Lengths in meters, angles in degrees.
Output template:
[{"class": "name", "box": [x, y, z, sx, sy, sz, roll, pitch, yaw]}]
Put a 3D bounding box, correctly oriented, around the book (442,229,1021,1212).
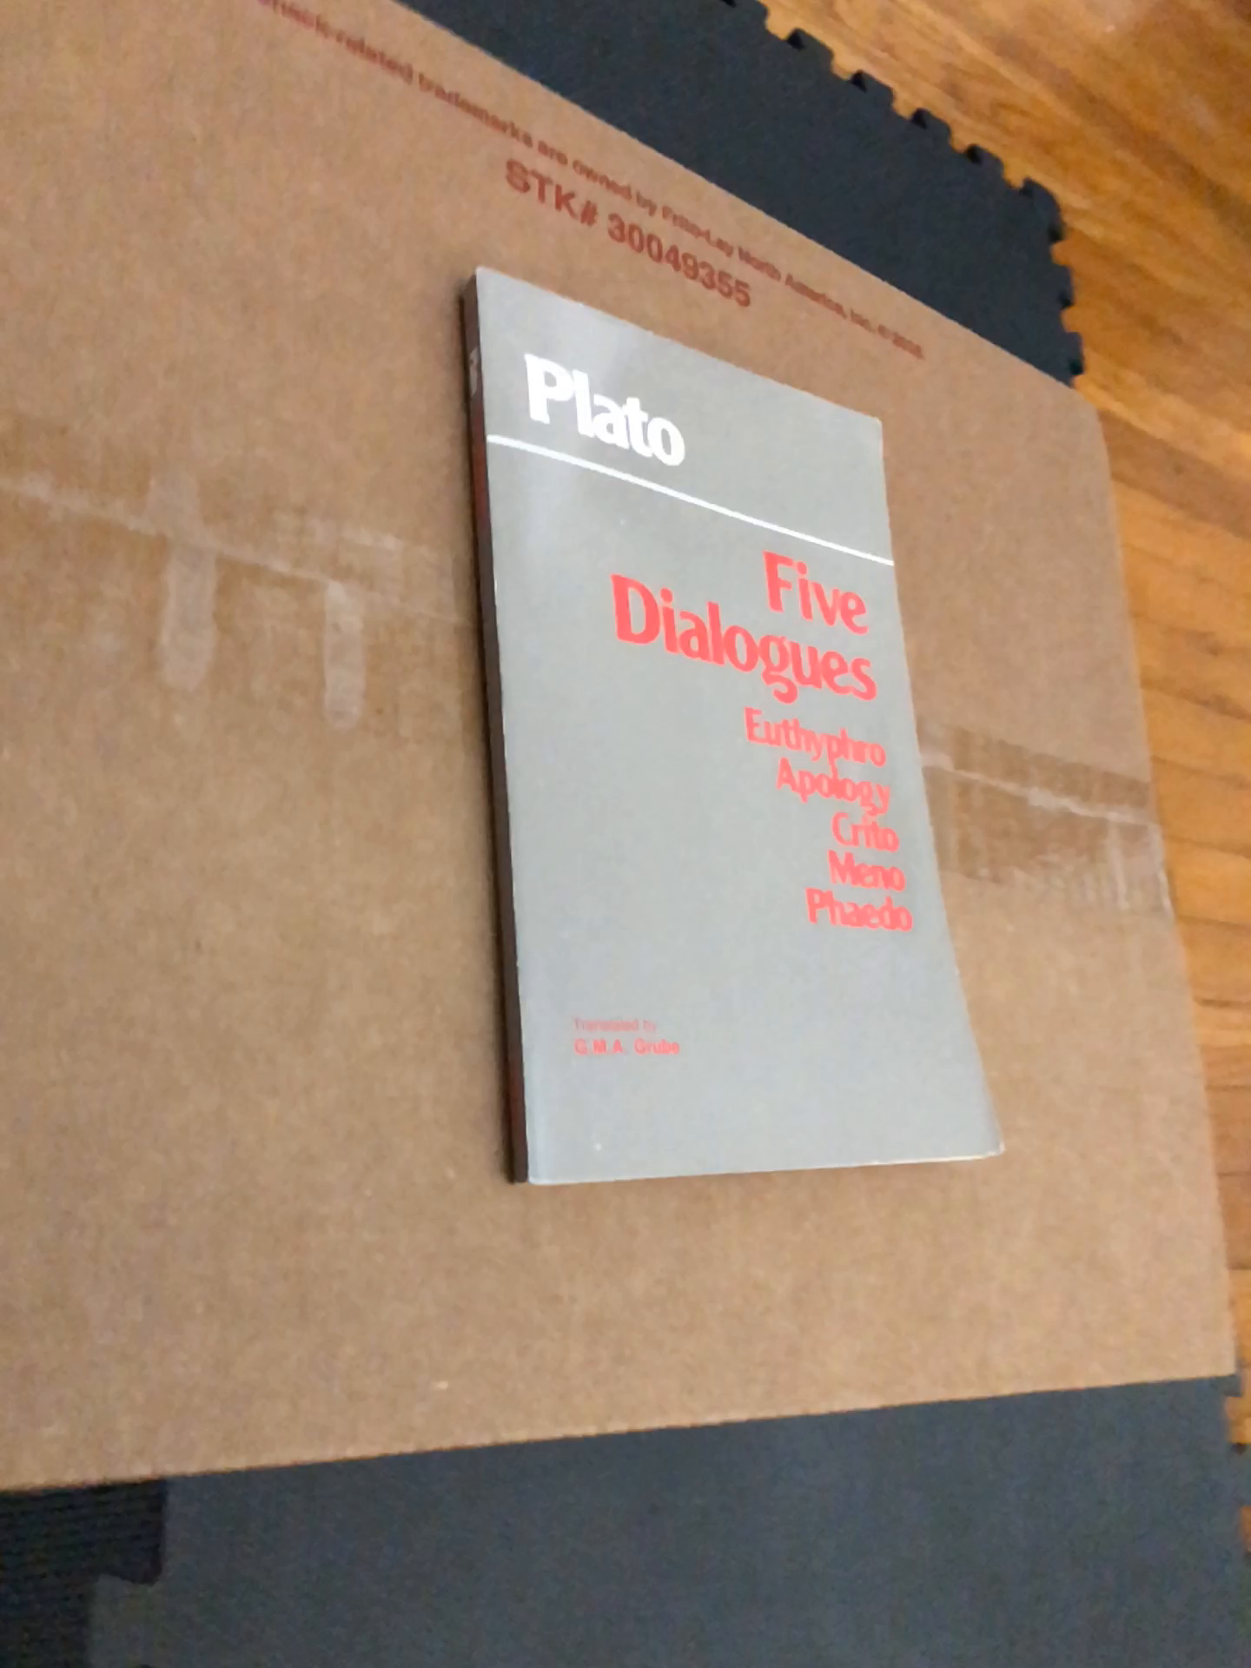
[{"class": "book", "box": [0.027, -0.026, 0.343, 0.141, 0.020, 0.220, 6, 71, -36]}]
